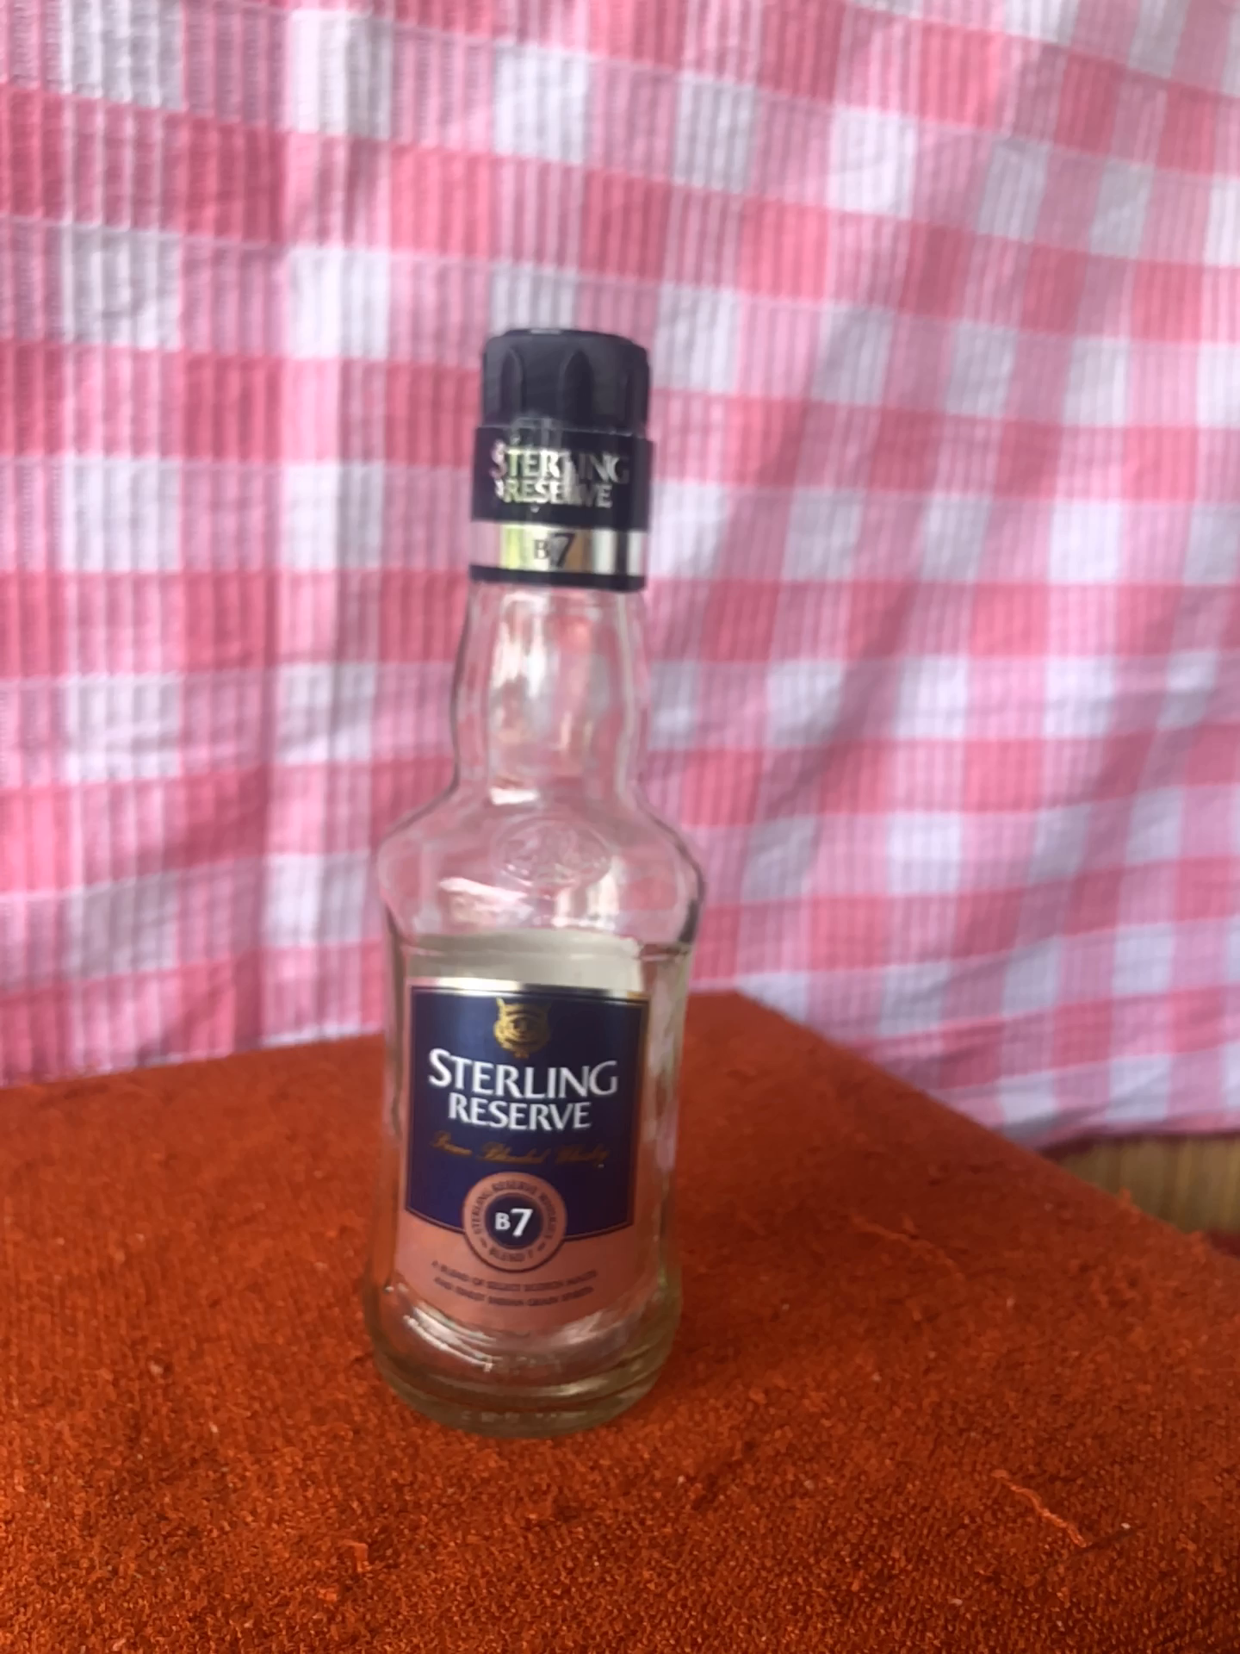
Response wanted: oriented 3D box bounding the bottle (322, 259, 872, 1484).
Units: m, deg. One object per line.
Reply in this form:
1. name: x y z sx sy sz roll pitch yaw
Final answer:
1. bottle: -0.007 0.009 0.218 0.060 0.169 0.050 5 13 -2
